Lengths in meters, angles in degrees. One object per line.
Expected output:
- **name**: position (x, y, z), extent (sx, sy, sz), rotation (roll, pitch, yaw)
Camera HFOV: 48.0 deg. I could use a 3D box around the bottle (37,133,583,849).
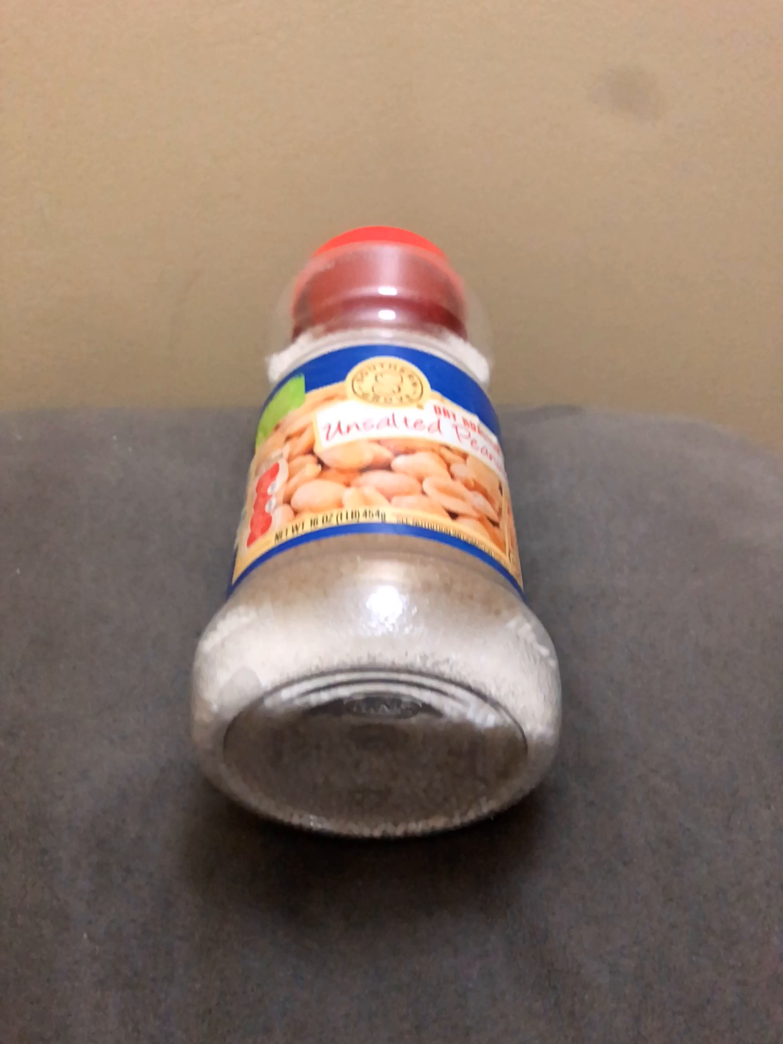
- **bottle**: position (-0.009, -0.030, 0.264), extent (0.095, 0.090, 0.221), rotation (-3, 41, 4)
